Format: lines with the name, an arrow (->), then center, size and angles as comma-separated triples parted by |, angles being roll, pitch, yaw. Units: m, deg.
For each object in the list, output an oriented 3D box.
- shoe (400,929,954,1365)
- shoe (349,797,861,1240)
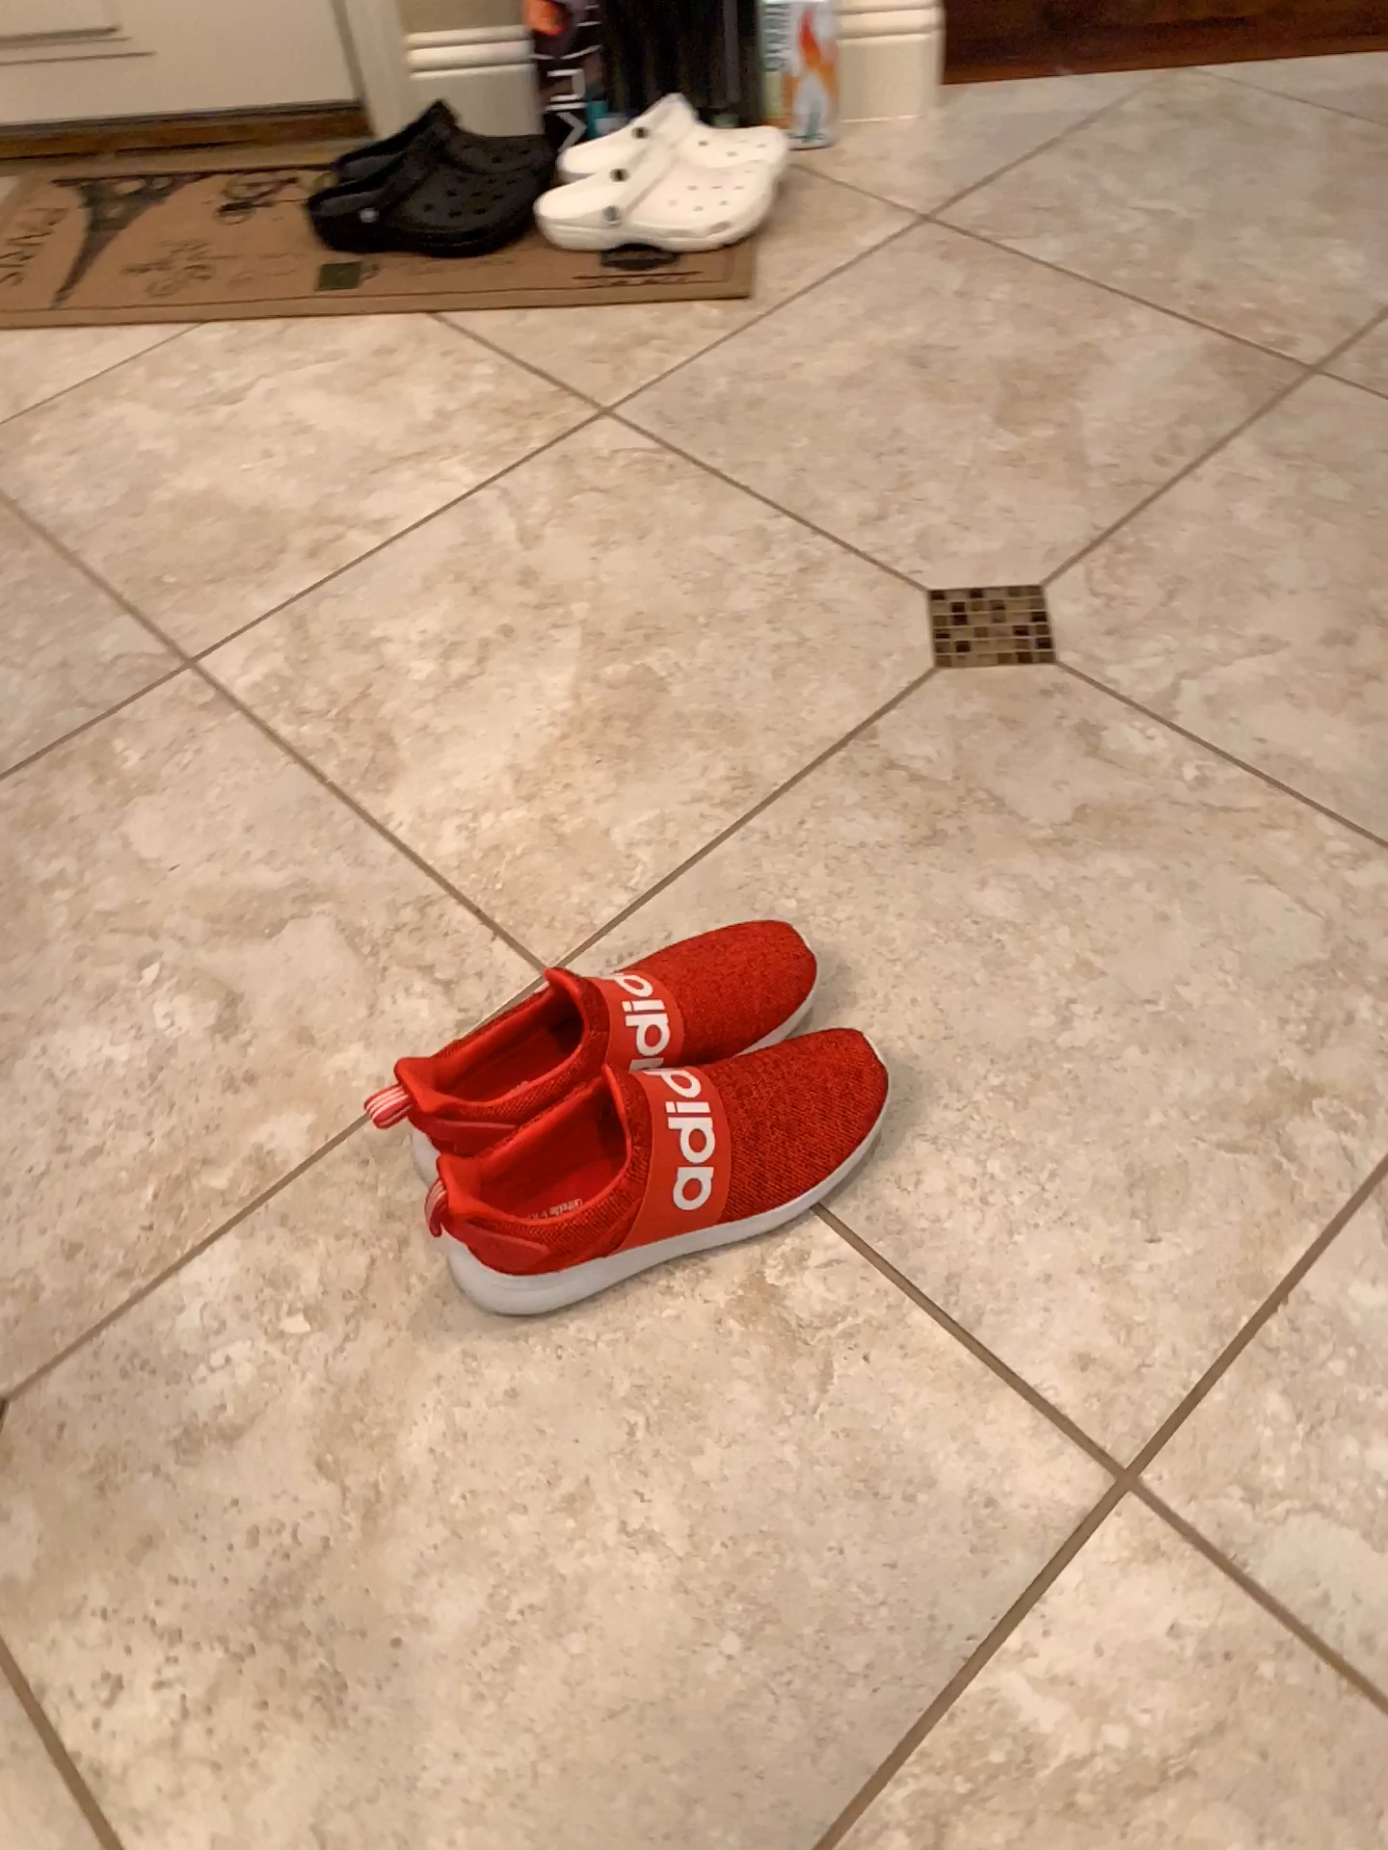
shoe -> -0.007, 0.134, 0.868 | 0.300, 0.119, 0.118 | -21, 54, -11
shoe -> -0.049, 0.057, 0.925 | 0.300, 0.119, 0.118 | -28, 55, -16
